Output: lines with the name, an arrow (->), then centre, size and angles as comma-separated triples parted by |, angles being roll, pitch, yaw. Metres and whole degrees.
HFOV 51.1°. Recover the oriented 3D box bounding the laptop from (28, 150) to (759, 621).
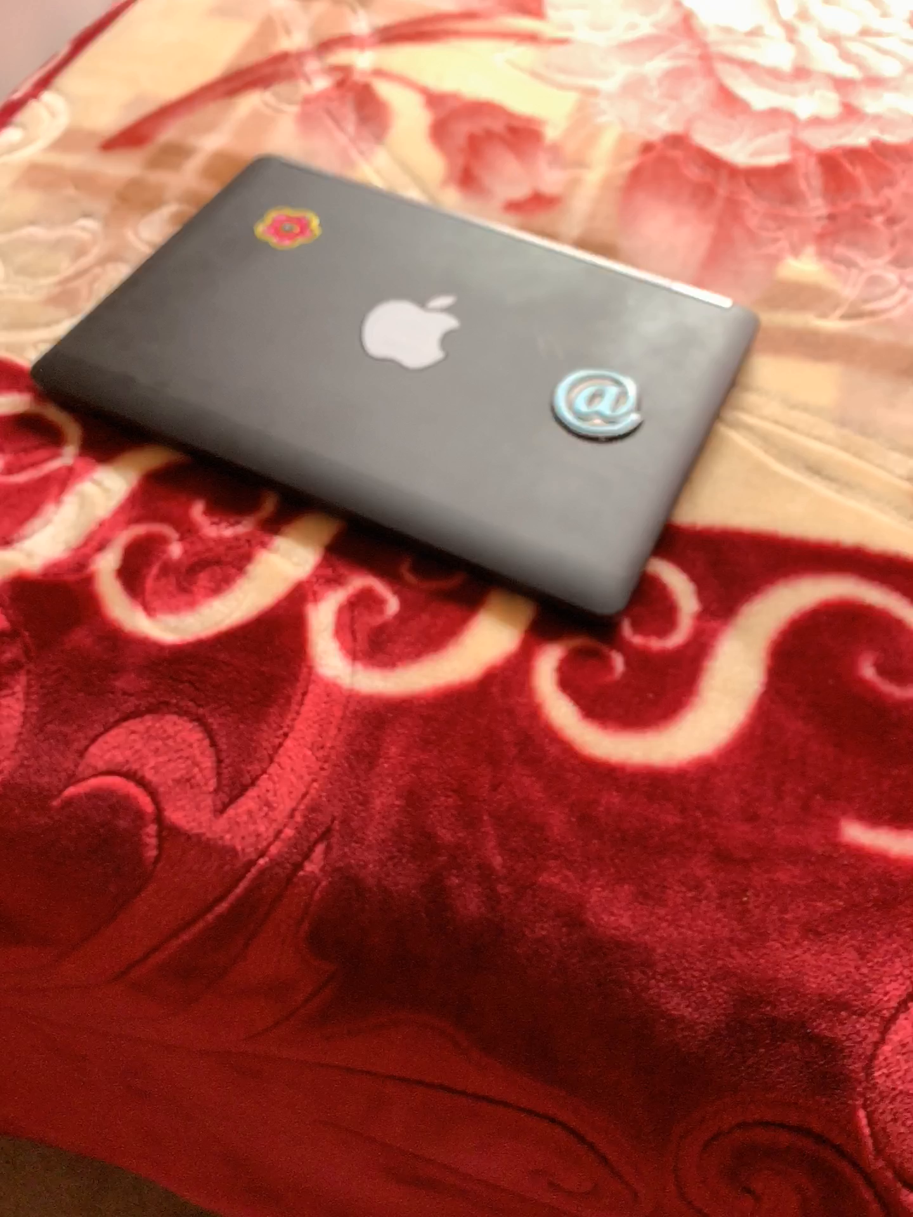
laptop -> -0.024, -0.131, 0.469 | 0.300, 0.001, 0.209 | 23, 59, 14
